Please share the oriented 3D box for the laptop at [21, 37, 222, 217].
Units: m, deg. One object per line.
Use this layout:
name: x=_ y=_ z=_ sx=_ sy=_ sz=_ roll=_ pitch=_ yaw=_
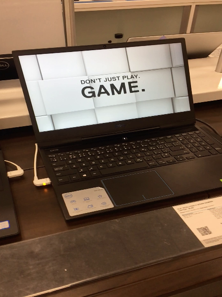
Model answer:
laptop: x=0.047 y=-0.063 z=0.546 sx=0.359 sy=0.176 sz=0.300 roll=-11 pitch=40 yaw=-10
